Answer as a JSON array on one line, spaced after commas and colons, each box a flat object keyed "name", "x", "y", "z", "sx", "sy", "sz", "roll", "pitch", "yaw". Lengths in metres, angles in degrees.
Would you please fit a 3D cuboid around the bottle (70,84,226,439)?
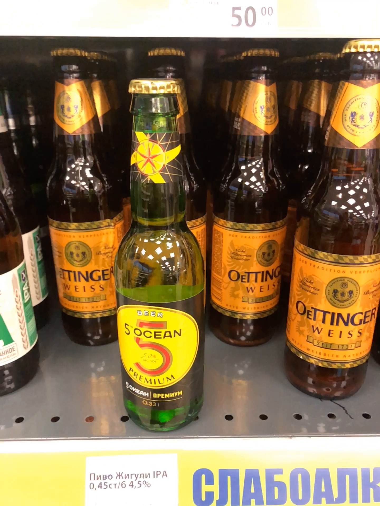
[{"name": "bottle", "x": -0.017, "y": 0.008, "z": 0.265, "sx": 0.070, "sy": 0.210, "sz": 0.070, "roll": 0, "pitch": 23, "yaw": 0}]
